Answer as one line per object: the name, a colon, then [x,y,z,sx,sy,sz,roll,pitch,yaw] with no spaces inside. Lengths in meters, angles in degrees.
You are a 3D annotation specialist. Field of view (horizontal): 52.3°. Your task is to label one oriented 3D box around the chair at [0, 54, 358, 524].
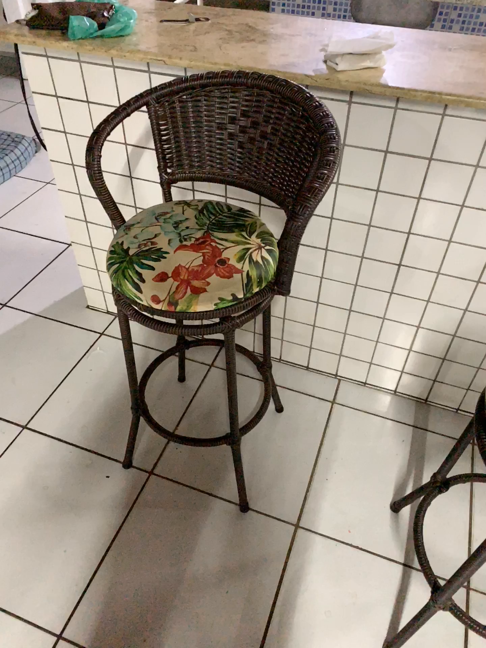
chair: [-0.092,-0.045,1.249,0.500,0.975,0.532,14,45,14]
